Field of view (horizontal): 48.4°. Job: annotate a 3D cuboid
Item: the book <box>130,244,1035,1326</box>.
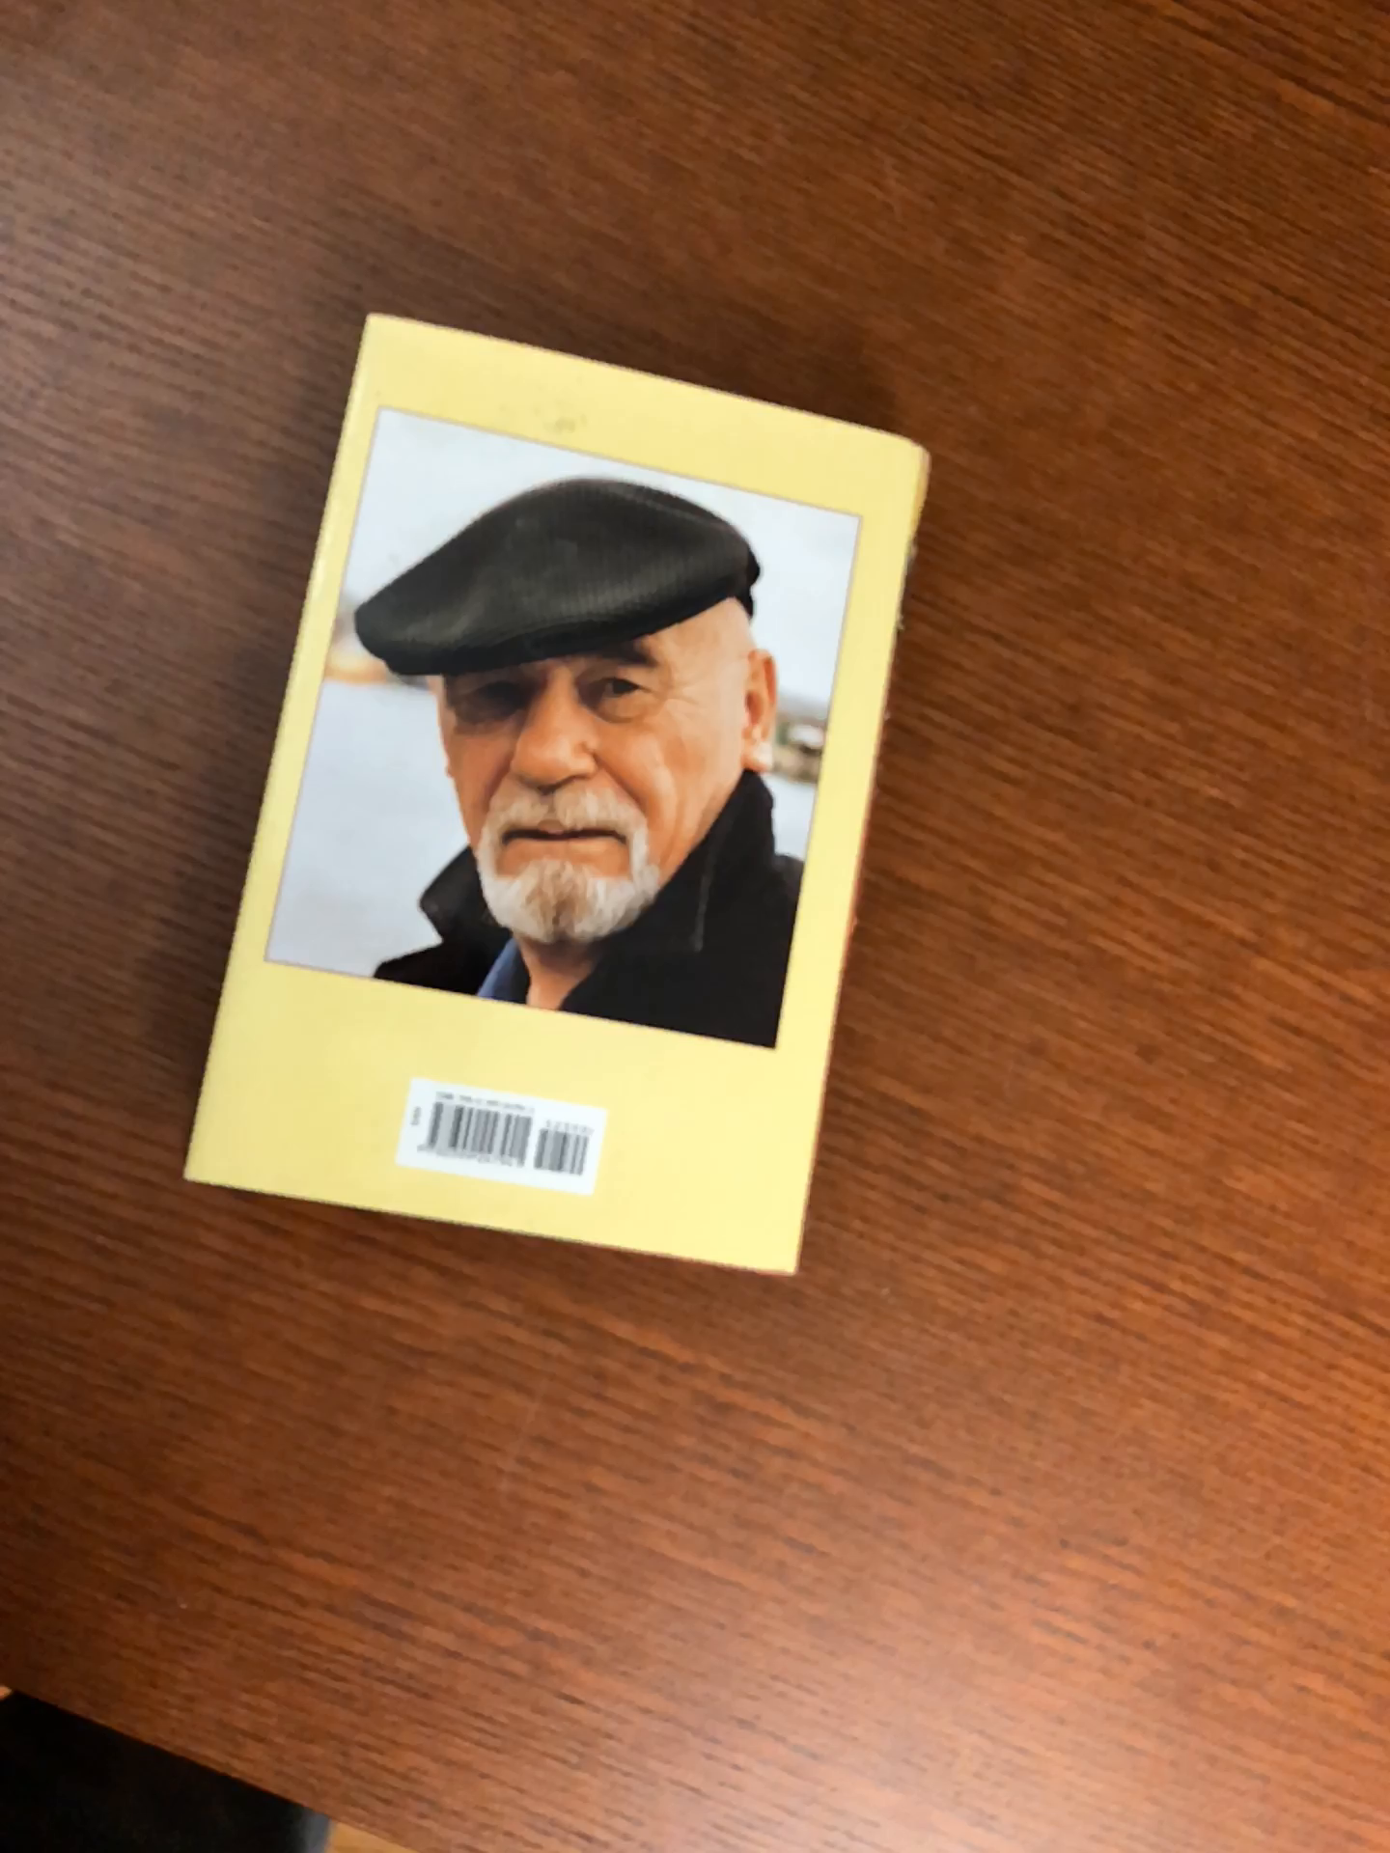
[{"bbox_3d":[-0.022,-0.037,0.413,0.190,0.030,0.250,11,81,-7],"label":"book"}]
